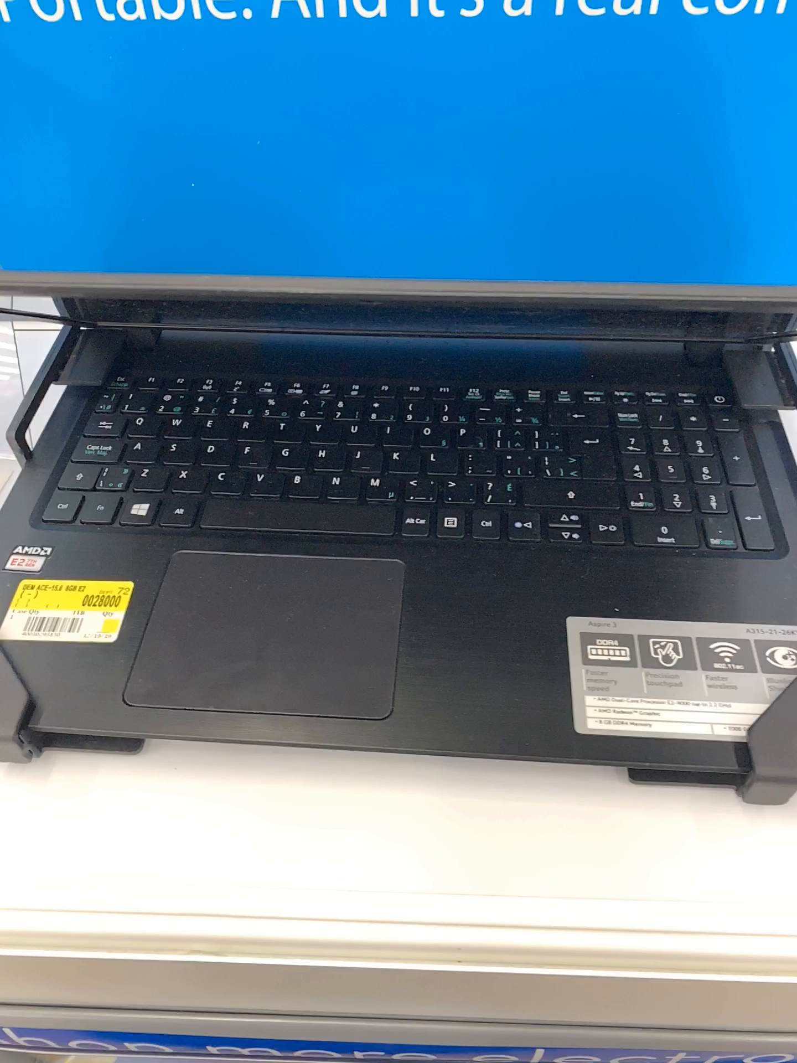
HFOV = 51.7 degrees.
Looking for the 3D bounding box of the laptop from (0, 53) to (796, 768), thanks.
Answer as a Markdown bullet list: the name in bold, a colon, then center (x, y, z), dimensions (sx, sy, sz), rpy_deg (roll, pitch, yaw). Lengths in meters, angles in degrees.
- **laptop**: center (-0.002, -0.057, 0.319), dimensions (0.364, 0.137, 0.222), rpy_deg (3, 52, 3)
